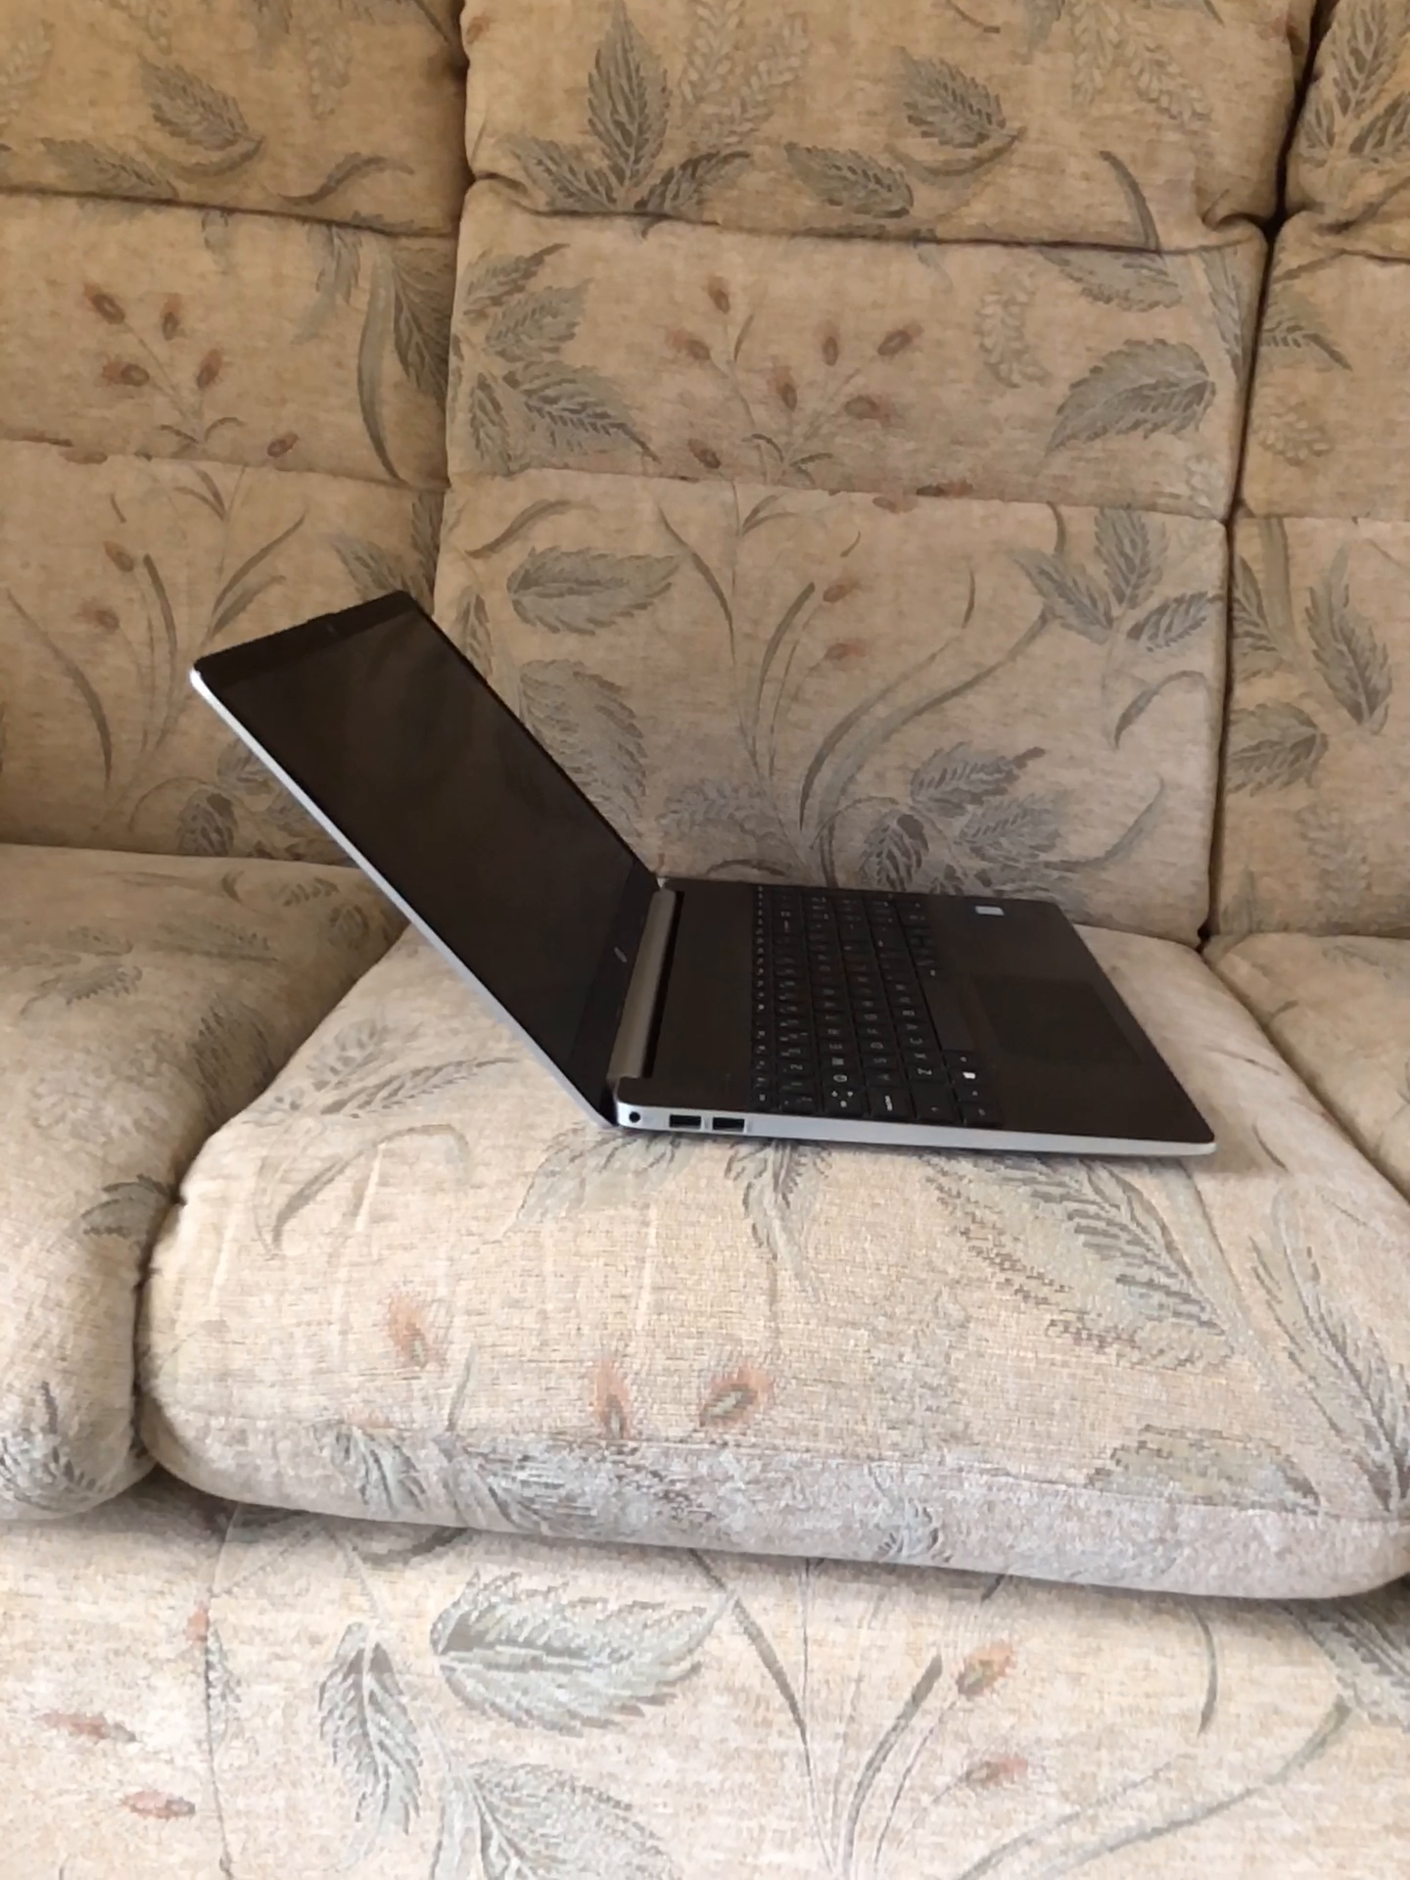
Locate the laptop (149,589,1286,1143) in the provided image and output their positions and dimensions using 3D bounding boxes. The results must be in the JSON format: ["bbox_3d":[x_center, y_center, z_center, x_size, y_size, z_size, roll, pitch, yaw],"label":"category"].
[{"bbox_3d":[0.010,-0.057,0.737,0.397,0.163,0.340,4,19,0],"label":"laptop"}]
